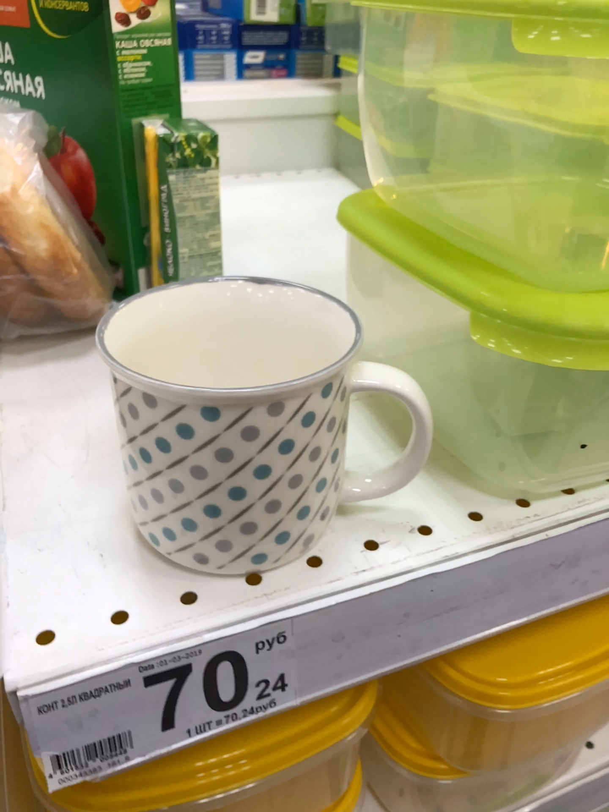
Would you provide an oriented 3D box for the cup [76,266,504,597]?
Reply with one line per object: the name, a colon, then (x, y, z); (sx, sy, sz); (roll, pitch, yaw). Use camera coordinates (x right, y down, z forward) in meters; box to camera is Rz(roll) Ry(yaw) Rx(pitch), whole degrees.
cup: (-0.008, 0.004, 0.263); (0.127, 0.082, 0.096); (-2, 33, -6)
